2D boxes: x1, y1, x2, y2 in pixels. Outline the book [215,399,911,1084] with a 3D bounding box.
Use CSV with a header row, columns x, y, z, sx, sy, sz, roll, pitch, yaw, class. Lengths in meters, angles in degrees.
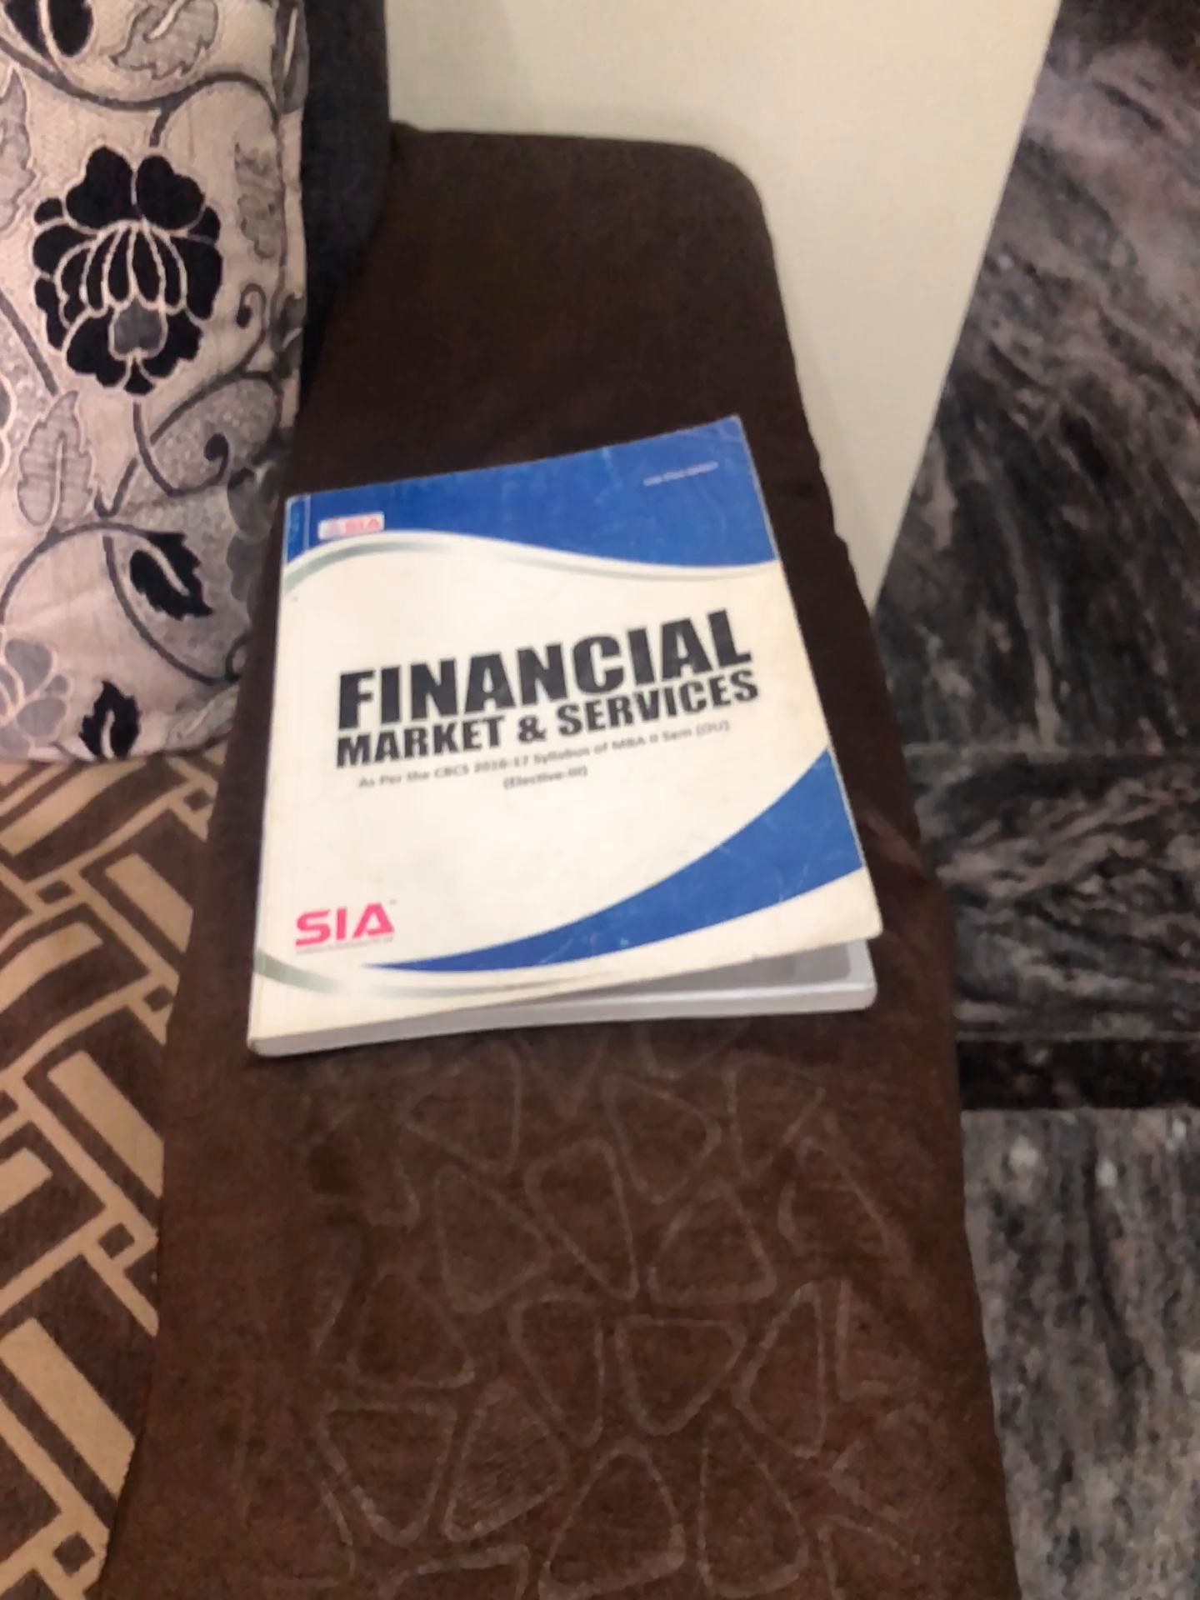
x,y,z,sx,sy,sz,roll,pitch,yaw,class
-0.024,-0.043,0.528,0.220,0.040,0.291,-8,50,0,book
